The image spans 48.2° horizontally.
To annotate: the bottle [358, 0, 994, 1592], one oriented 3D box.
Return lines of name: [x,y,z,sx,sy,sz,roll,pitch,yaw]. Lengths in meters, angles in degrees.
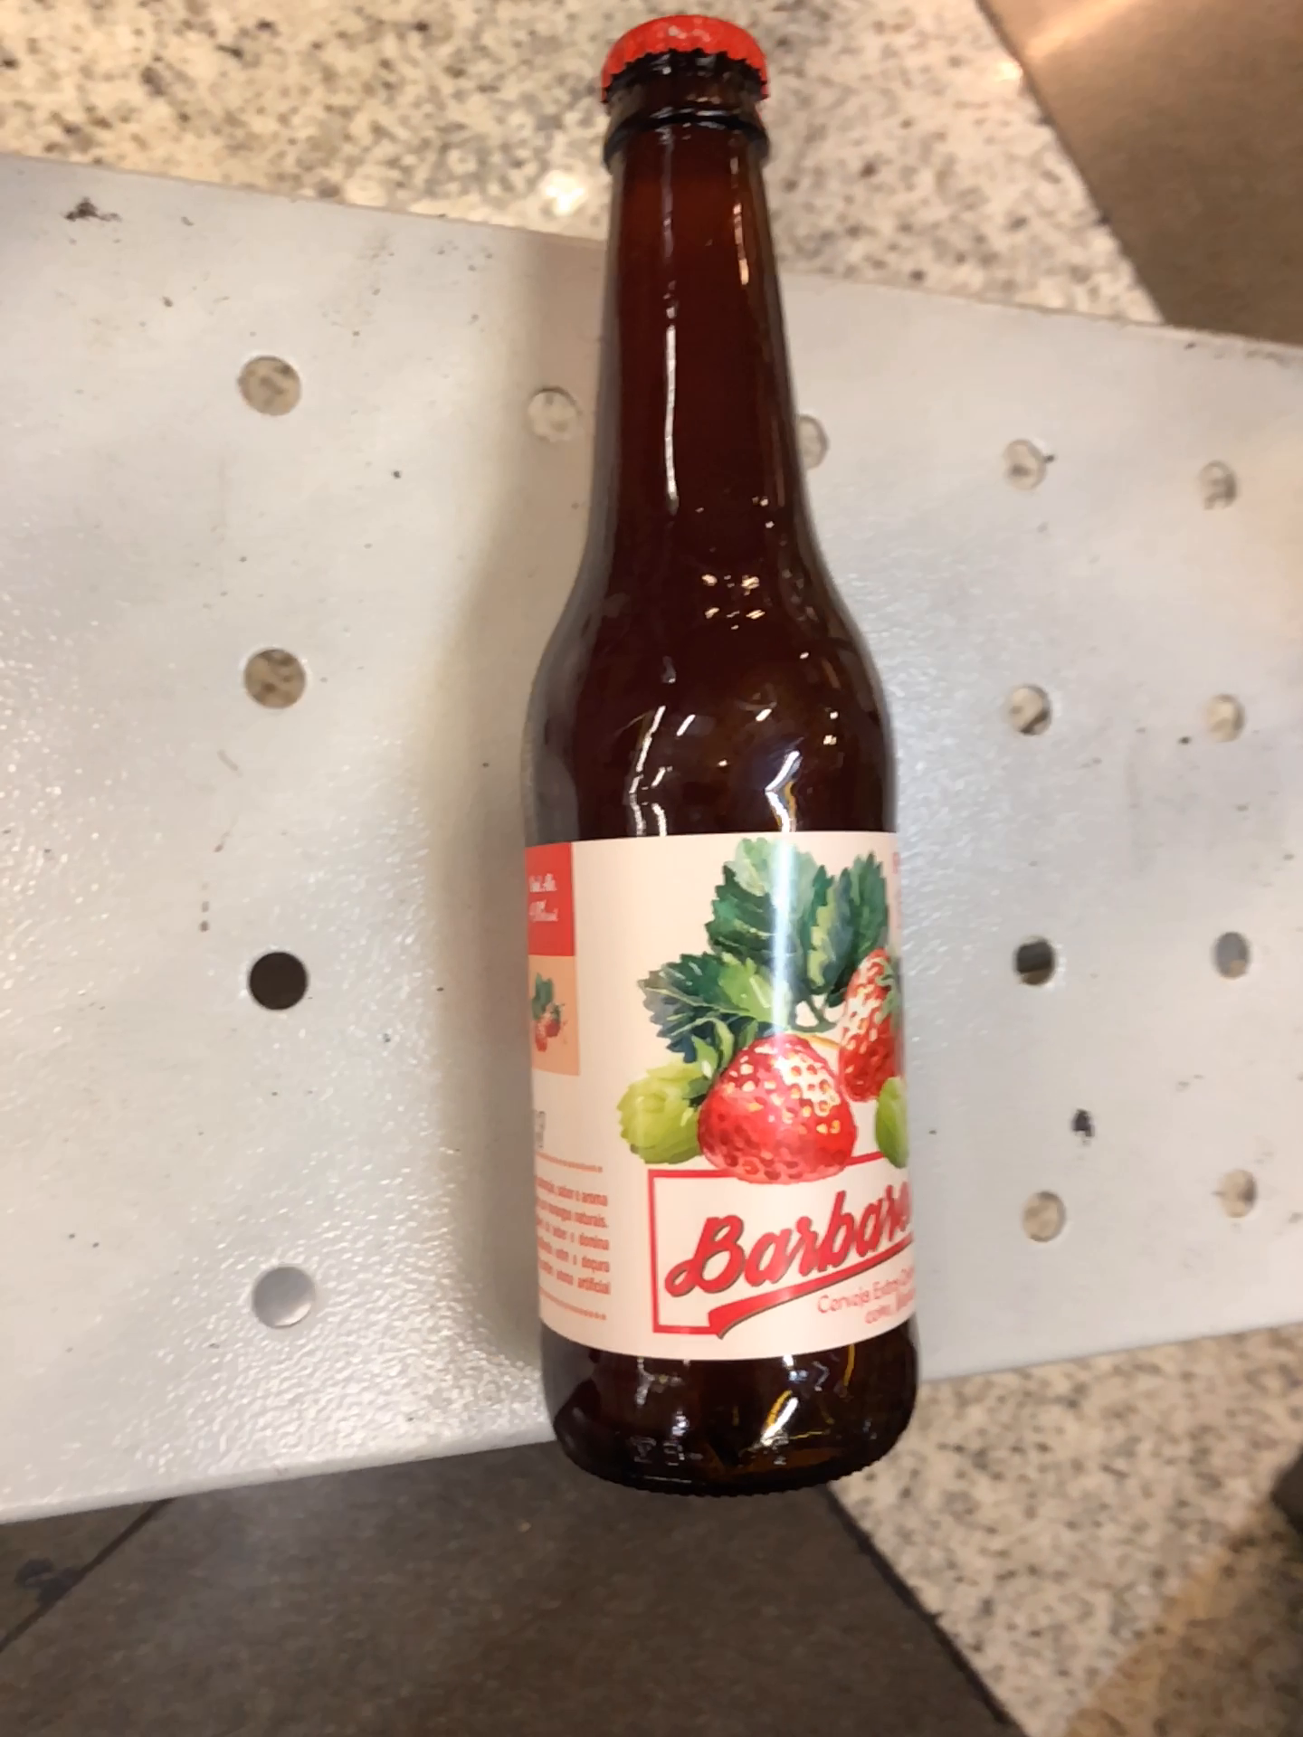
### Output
bottle: [0.000,-0.028,0.229,0.070,0.060,0.240,-3,88,-21]
